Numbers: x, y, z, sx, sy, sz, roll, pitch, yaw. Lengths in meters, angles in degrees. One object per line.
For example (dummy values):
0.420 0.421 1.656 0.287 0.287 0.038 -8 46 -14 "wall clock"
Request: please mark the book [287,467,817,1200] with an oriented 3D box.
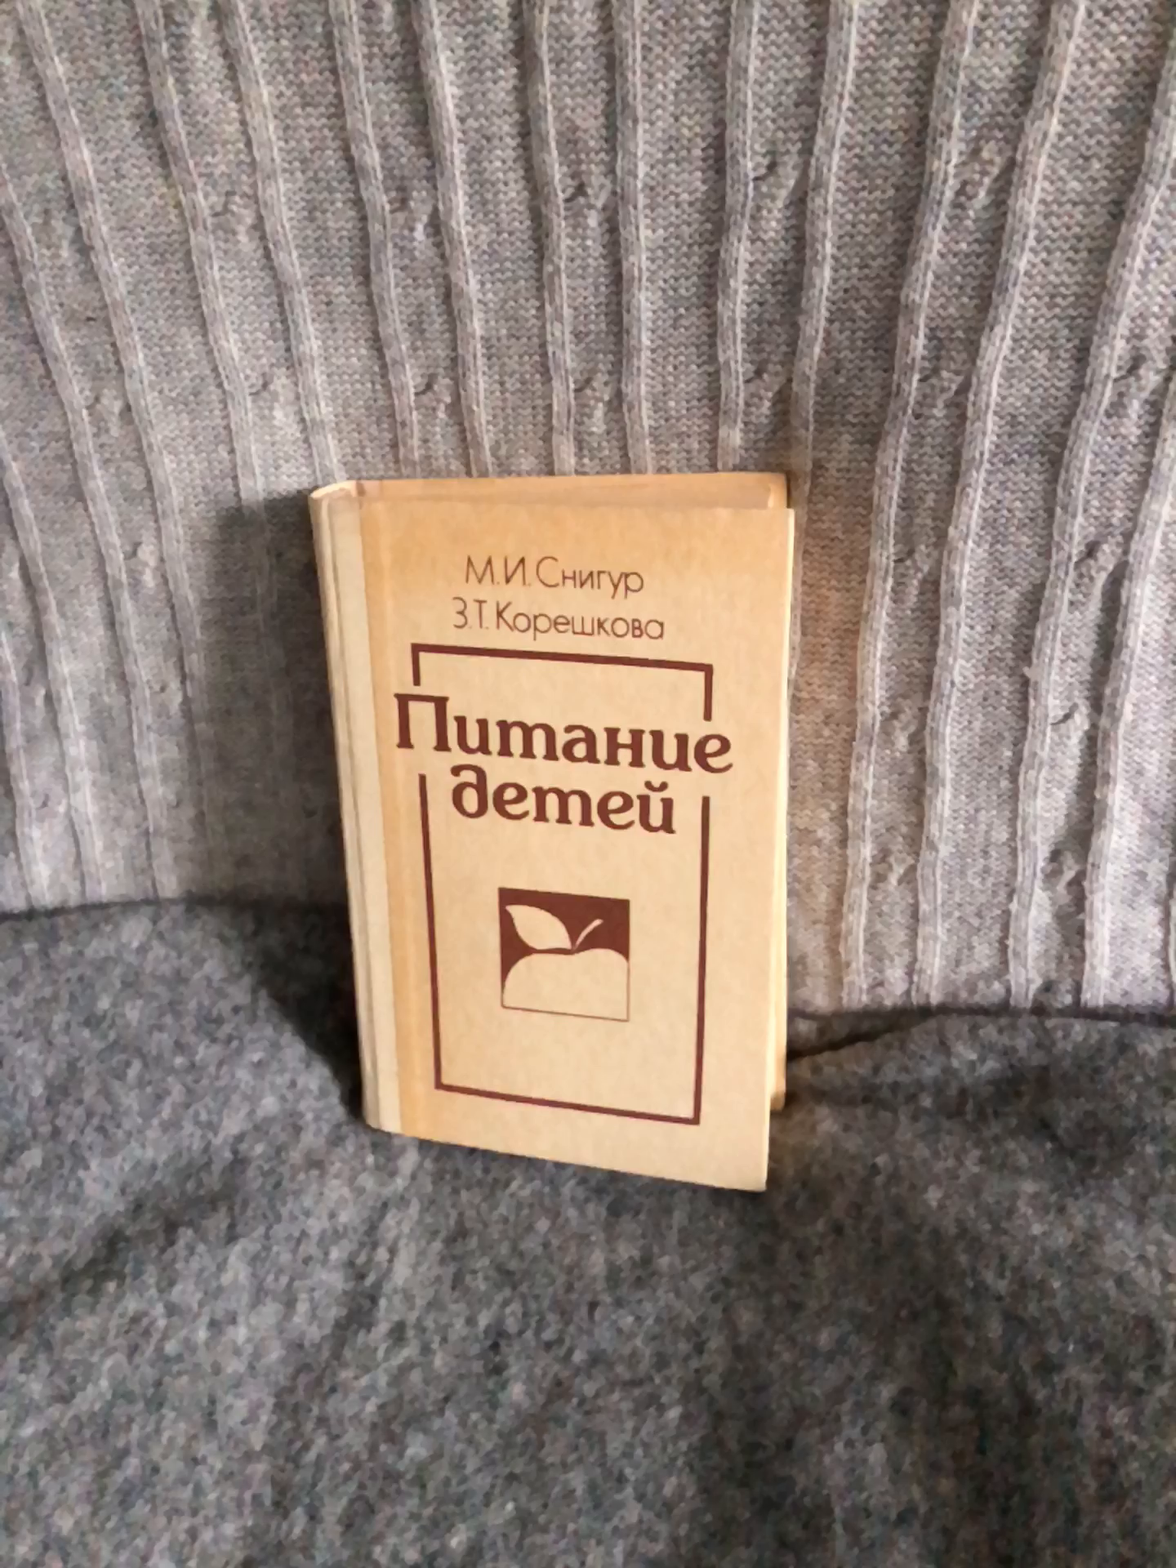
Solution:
-0.005 0.016 0.392 0.139 0.212 0.042 2 20 12 "book"
